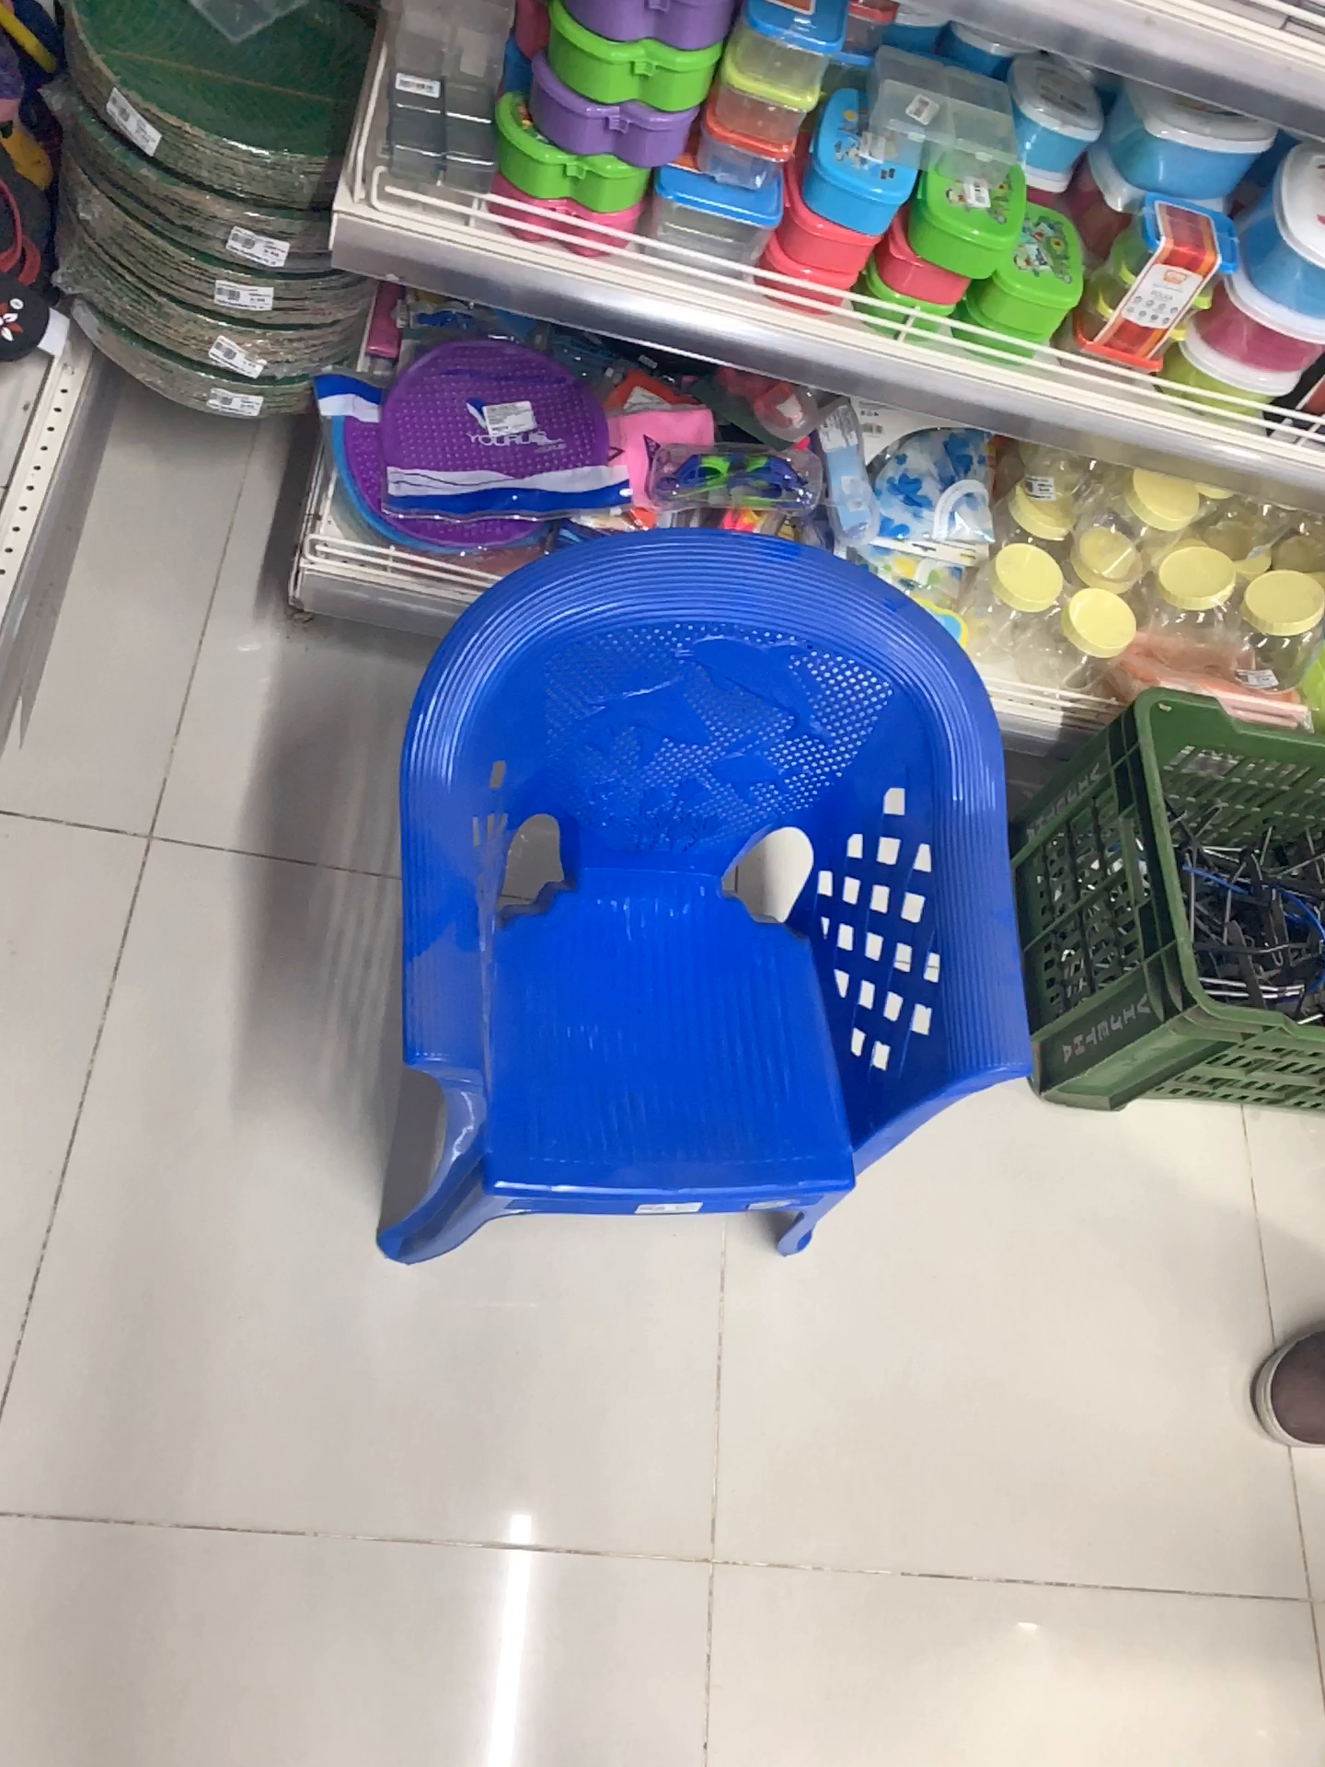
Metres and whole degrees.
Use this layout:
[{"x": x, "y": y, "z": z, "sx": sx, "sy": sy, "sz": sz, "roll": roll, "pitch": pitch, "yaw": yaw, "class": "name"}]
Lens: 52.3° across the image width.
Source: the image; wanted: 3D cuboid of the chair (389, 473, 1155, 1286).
[{"x": 0.020, "y": 0.039, "z": 1.061, "sx": 0.420, "sy": 0.469, "sz": 0.450, "roll": 3, "pitch": 64, "yaw": -15, "class": "chair"}]
